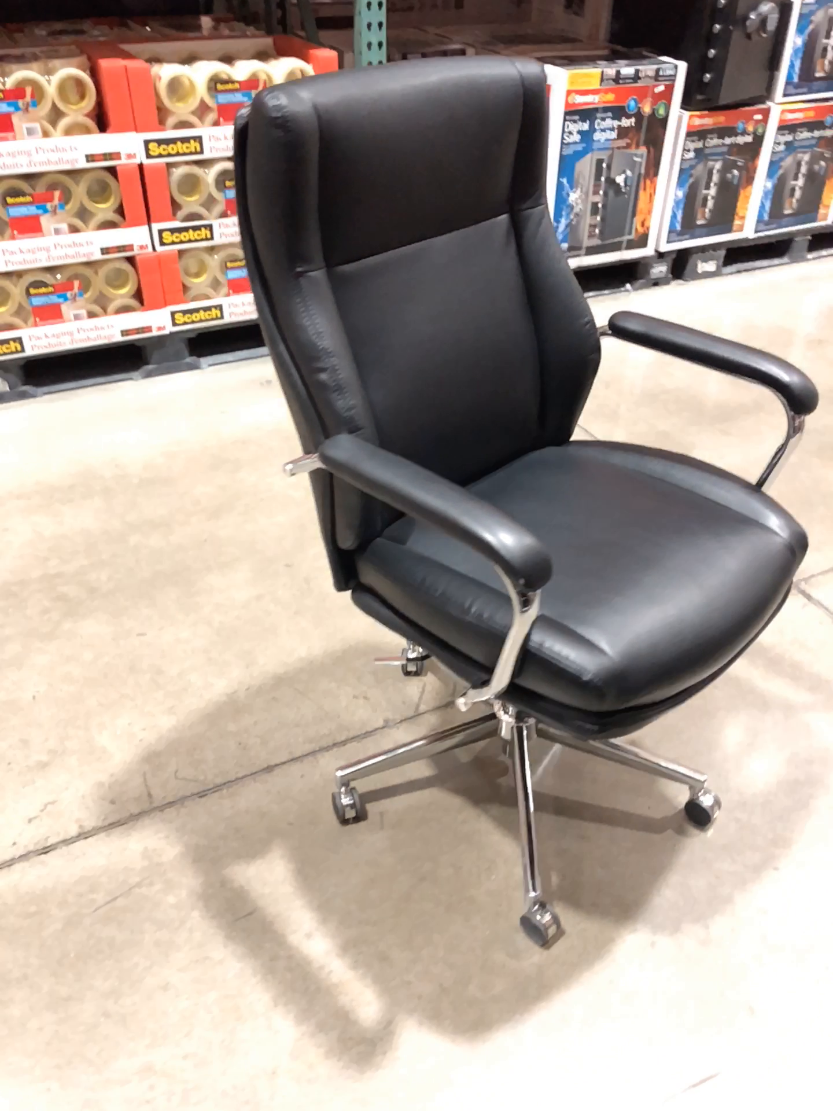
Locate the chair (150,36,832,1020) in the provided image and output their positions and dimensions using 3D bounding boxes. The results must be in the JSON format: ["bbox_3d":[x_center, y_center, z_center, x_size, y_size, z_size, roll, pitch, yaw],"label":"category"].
[{"bbox_3d":[0.187,-0.096,1.325,0.711,1.046,0.702,-27,44,-33],"label":"chair"}]
